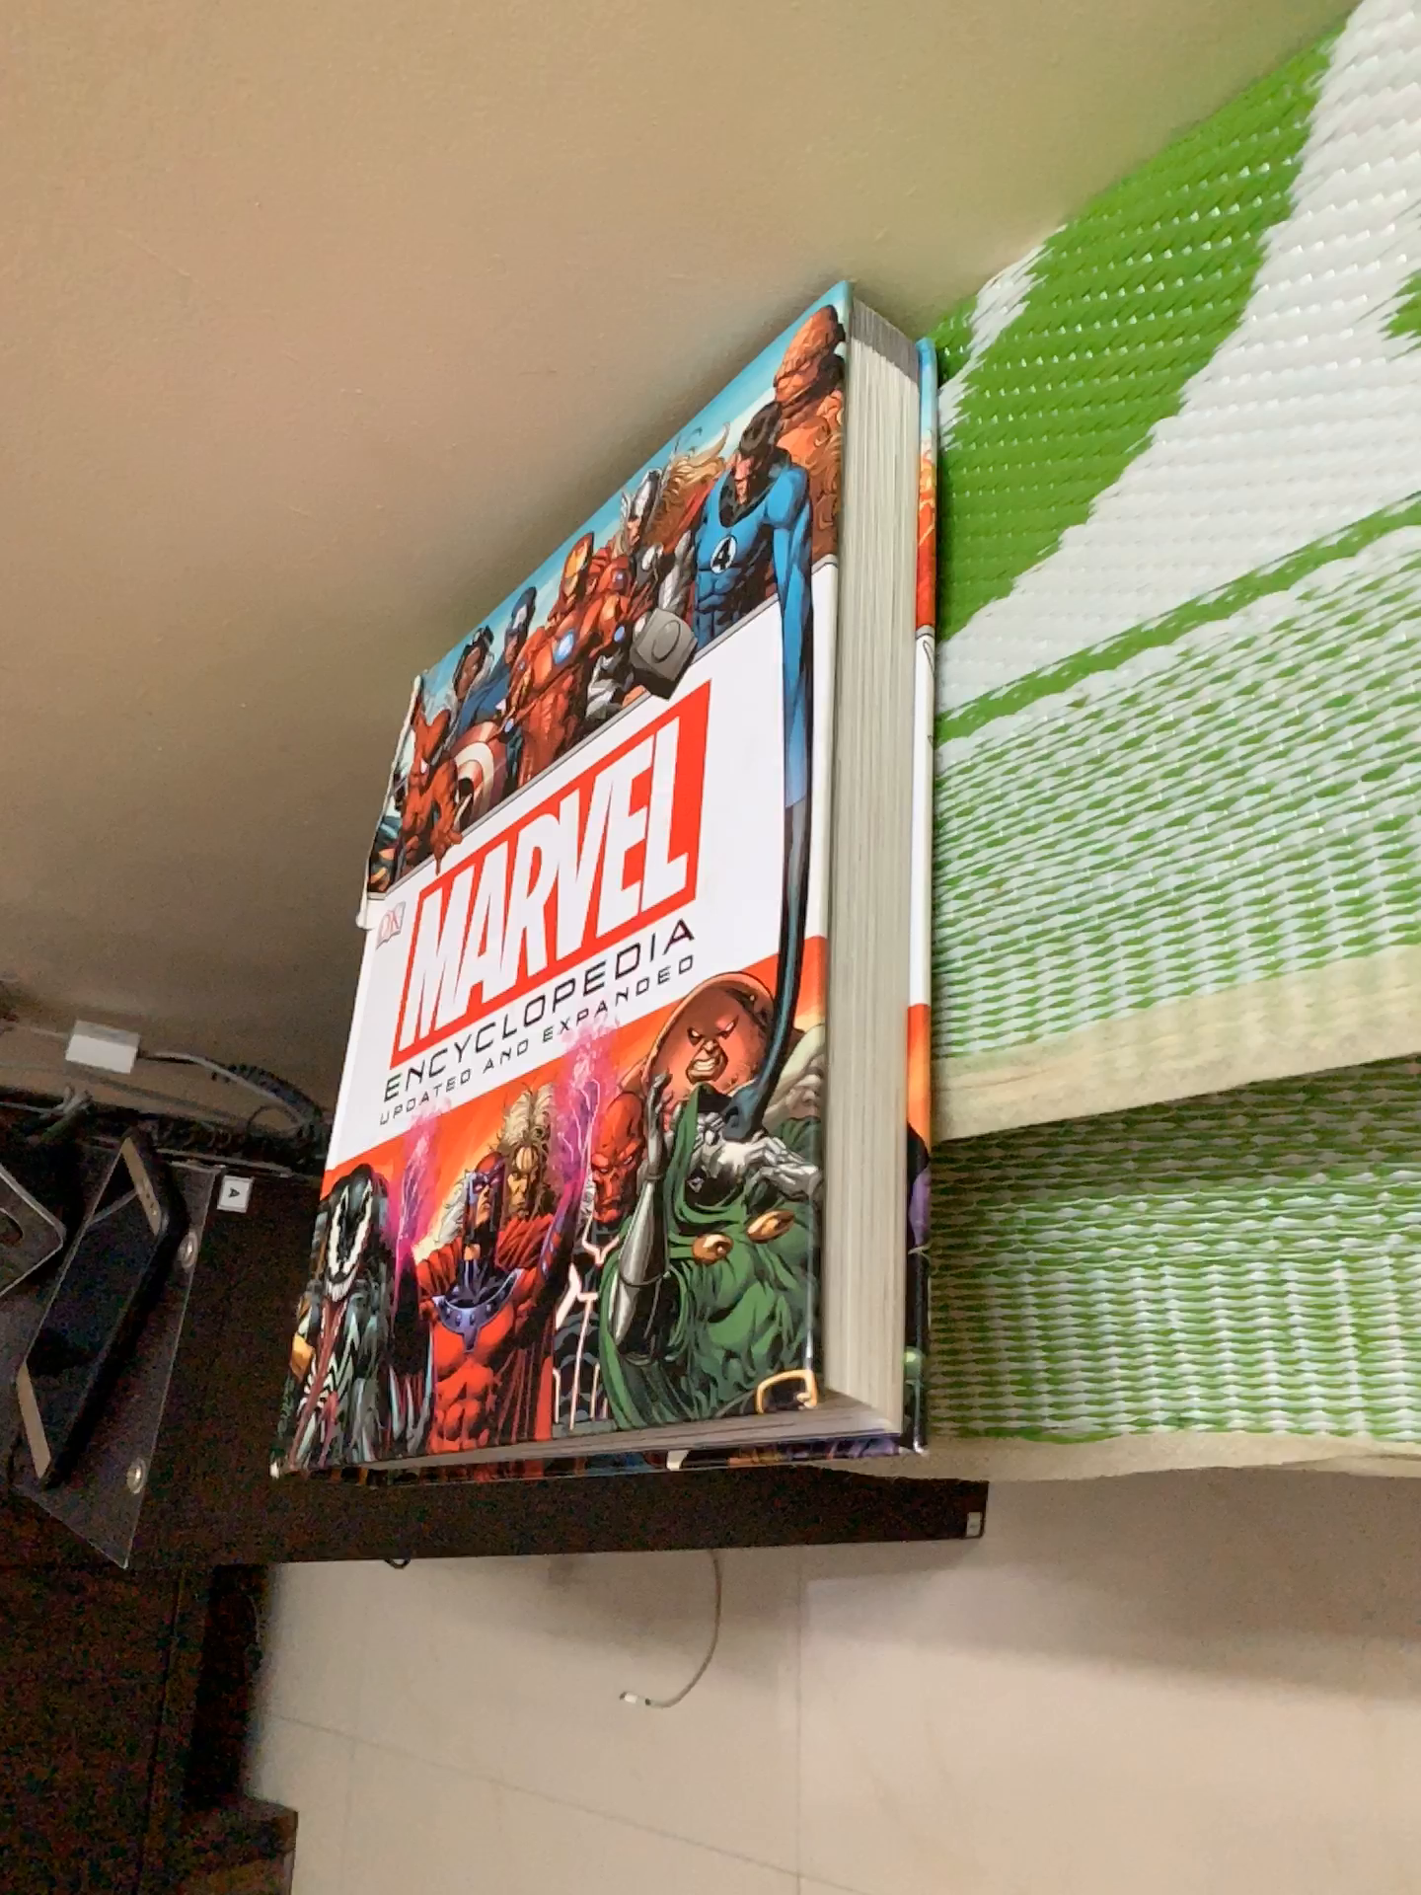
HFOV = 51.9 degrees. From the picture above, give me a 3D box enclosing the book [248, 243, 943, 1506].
[{"bbox_3d":[-0.039,-0.006,0.443,0.261,0.040,0.321,-26,51,47],"label":"book"}]
